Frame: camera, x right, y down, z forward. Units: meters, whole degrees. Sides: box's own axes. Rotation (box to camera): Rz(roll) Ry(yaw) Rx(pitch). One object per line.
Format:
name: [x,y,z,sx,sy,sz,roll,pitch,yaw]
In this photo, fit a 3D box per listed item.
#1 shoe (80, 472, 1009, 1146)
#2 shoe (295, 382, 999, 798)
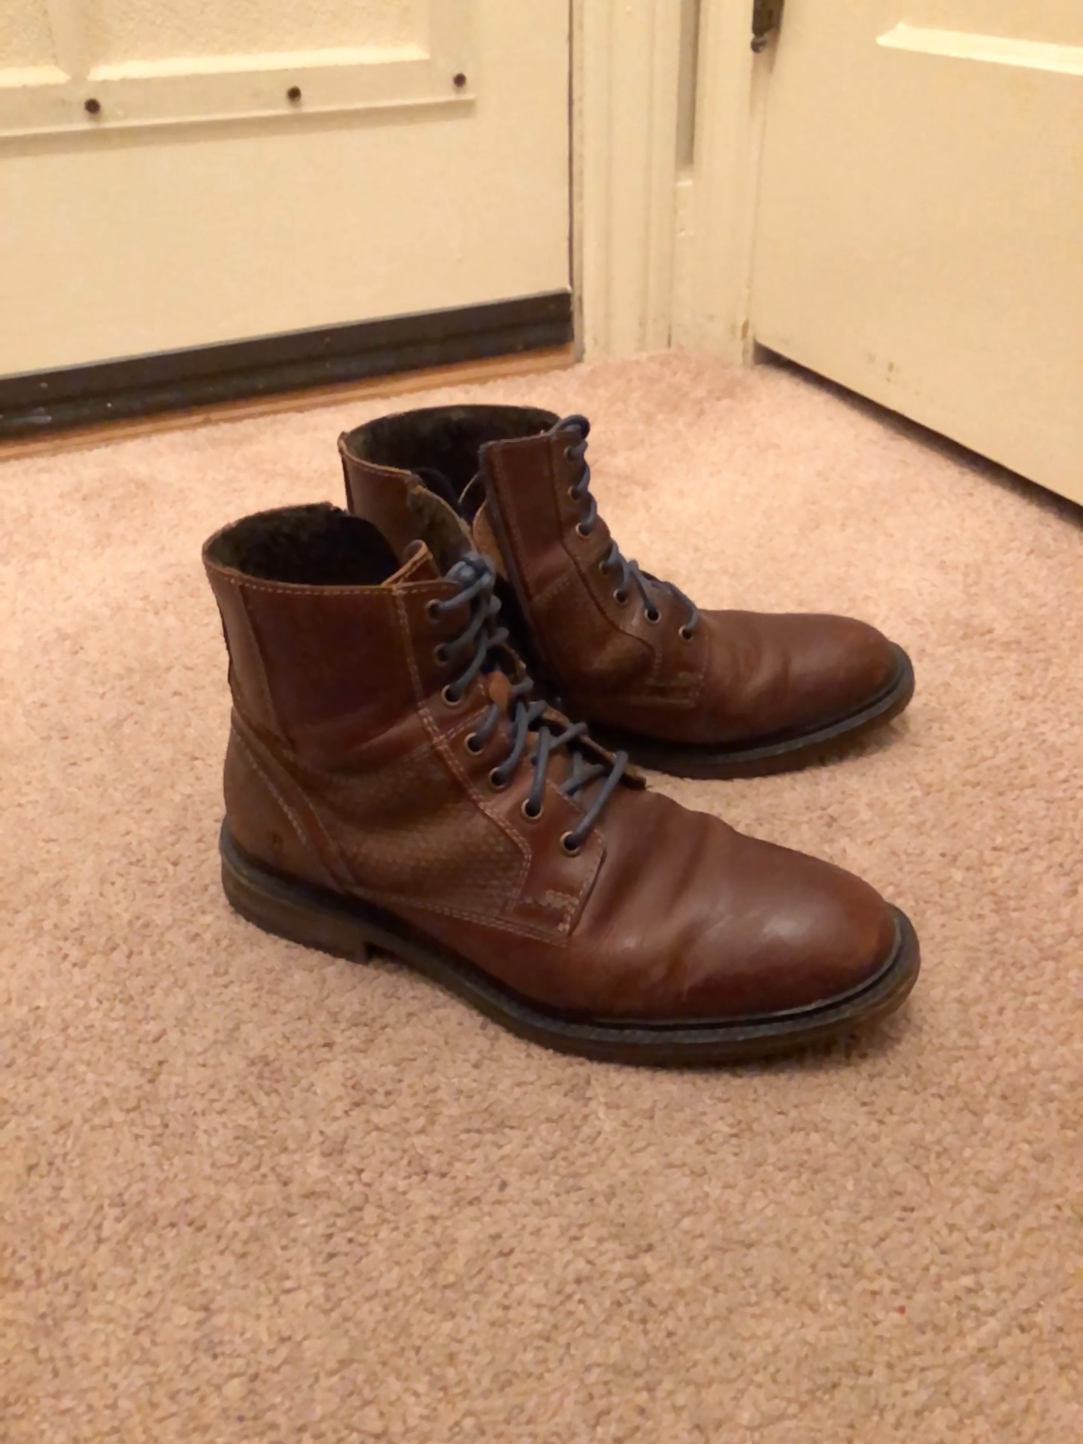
shoe: [0.000,0.022,0.477,0.315,0.172,0.113,12,36,18]
shoe: [0.046,-0.066,0.604,0.301,0.172,0.111,-1,34,0]
